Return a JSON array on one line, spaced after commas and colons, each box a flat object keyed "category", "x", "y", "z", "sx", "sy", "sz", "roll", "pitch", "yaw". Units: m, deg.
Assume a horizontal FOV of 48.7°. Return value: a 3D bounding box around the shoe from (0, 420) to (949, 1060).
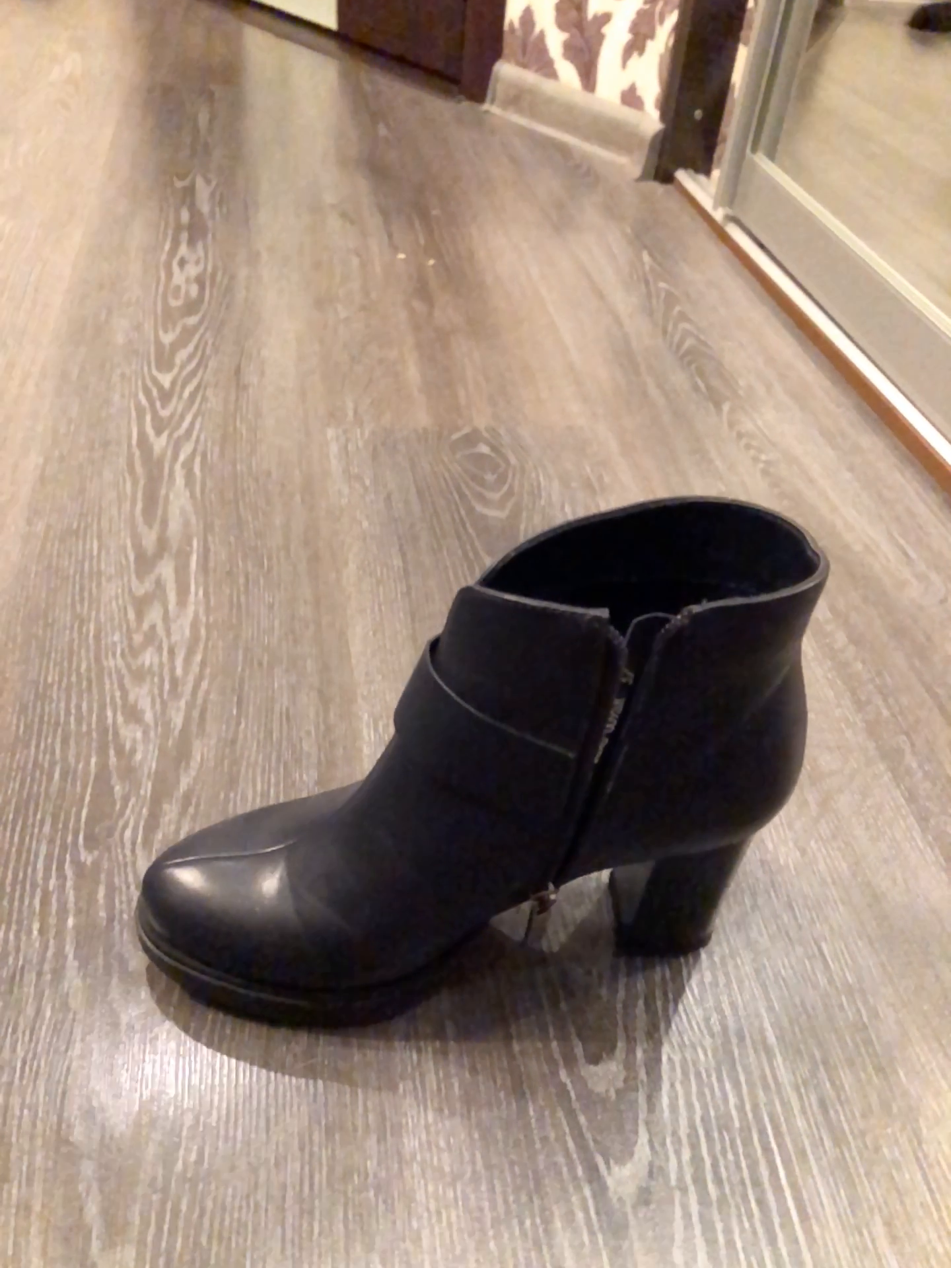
[{"category": "shoe", "x": -0.007, "y": 0.037, "z": 0.353, "sx": 0.240, "sy": 0.189, "sz": 0.091, "roll": -3, "pitch": 41, "yaw": -10}]
